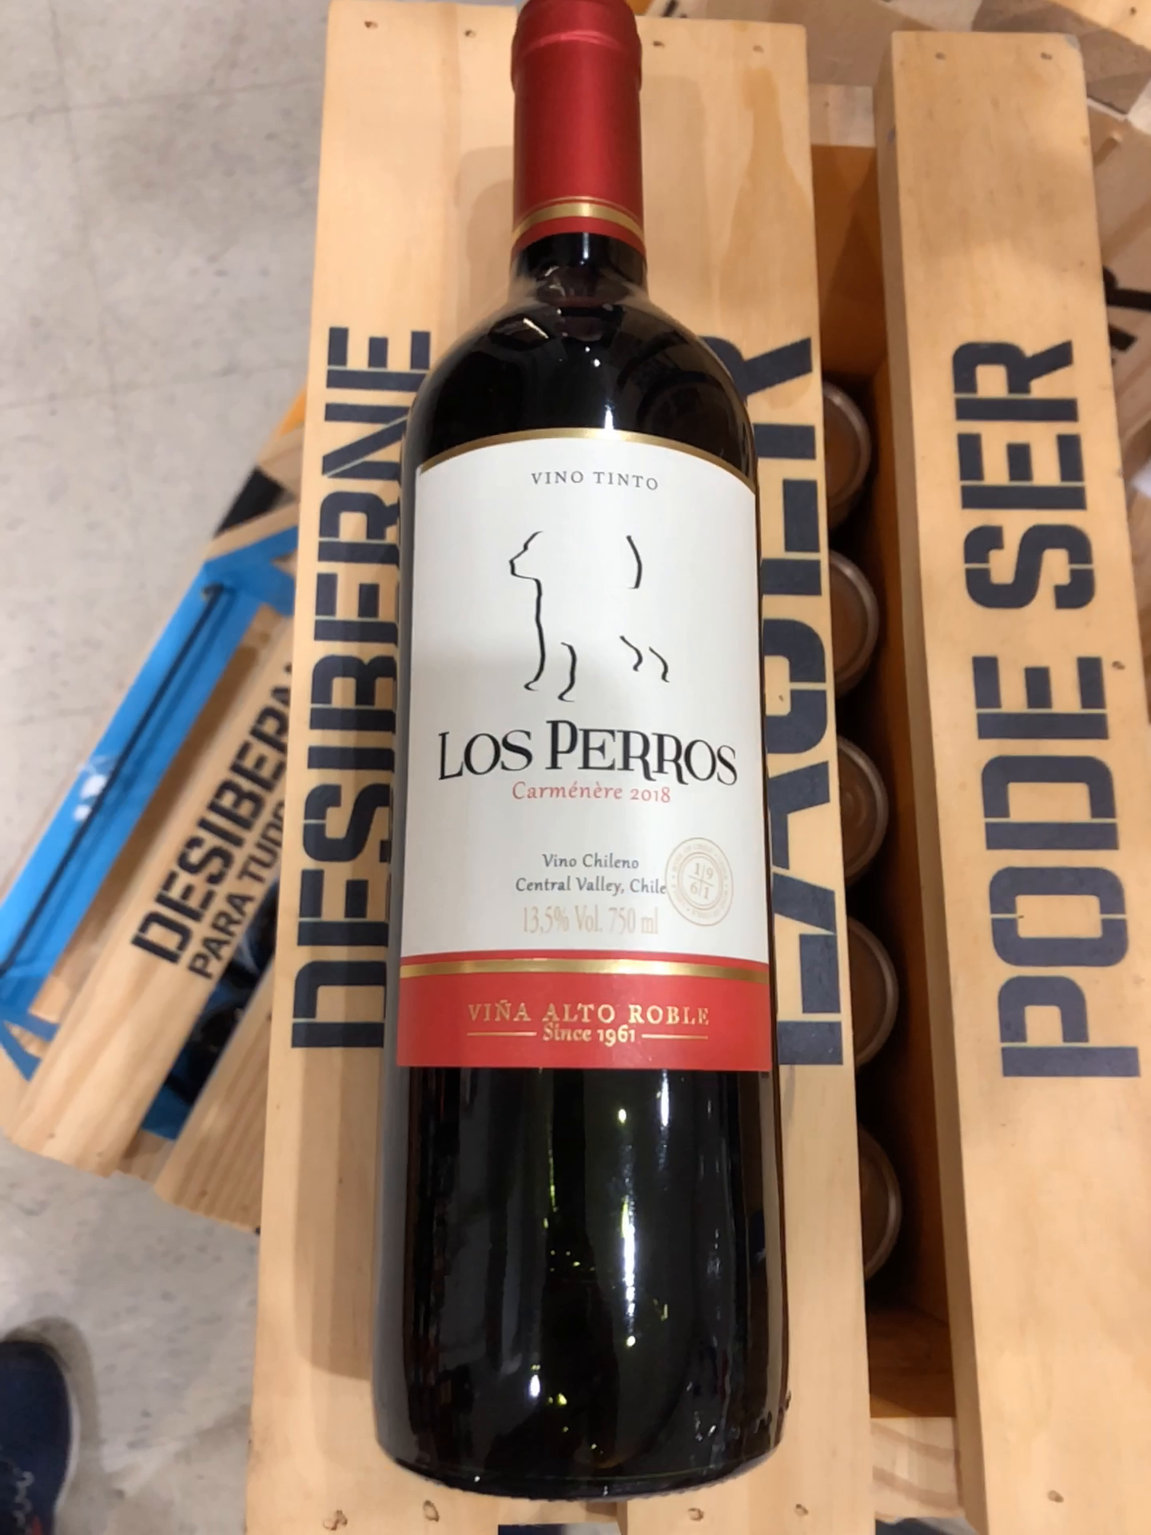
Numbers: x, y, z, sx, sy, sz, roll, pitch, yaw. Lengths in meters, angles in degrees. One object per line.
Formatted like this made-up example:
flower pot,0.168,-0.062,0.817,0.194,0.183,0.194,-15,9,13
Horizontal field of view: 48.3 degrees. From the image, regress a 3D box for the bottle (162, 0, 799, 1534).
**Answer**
bottle,-0.015,-0.030,0.243,0.090,0.060,0.310,1,78,-5
